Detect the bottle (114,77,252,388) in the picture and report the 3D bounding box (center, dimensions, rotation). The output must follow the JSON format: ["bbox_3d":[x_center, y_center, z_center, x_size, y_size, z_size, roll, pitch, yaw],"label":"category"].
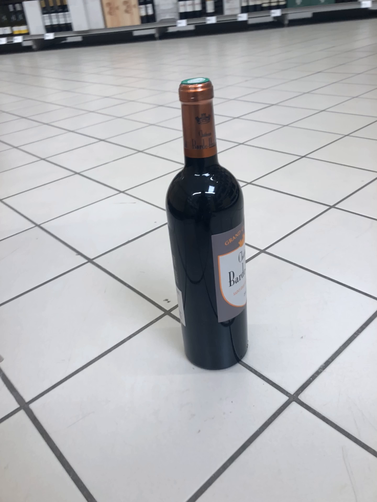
[{"bbox_3d":[0.009,-0.006,0.402,0.080,0.288,0.081,-5,30,3],"label":"bottle"}]
